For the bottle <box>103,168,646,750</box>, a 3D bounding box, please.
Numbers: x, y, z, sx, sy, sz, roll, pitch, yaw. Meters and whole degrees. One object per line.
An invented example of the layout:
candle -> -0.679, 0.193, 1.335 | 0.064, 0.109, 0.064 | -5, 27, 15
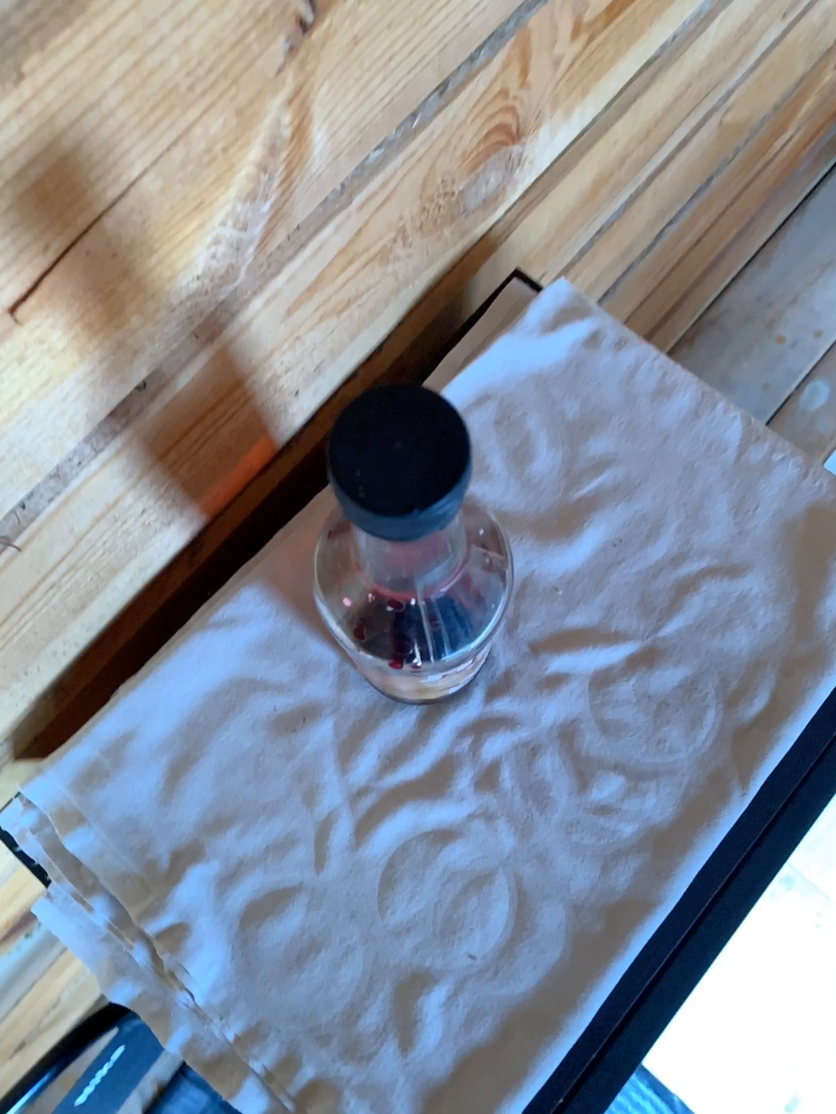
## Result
bottle -> -0.001, 0.005, 0.284 | 0.070, 0.259, 0.080 | 28, 78, 10
